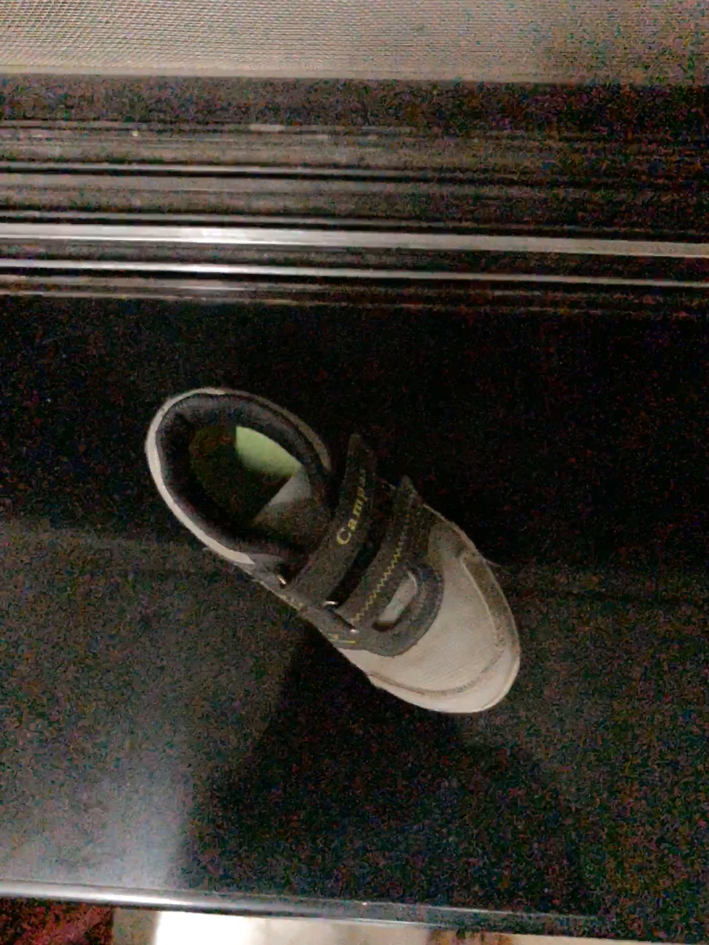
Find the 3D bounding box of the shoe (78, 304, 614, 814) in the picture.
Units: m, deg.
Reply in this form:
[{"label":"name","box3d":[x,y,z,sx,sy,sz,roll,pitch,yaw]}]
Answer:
[{"label":"shoe","box3d":[-0.006,0.037,0.357,0.230,0.080,0.090,41,86,7]}]
